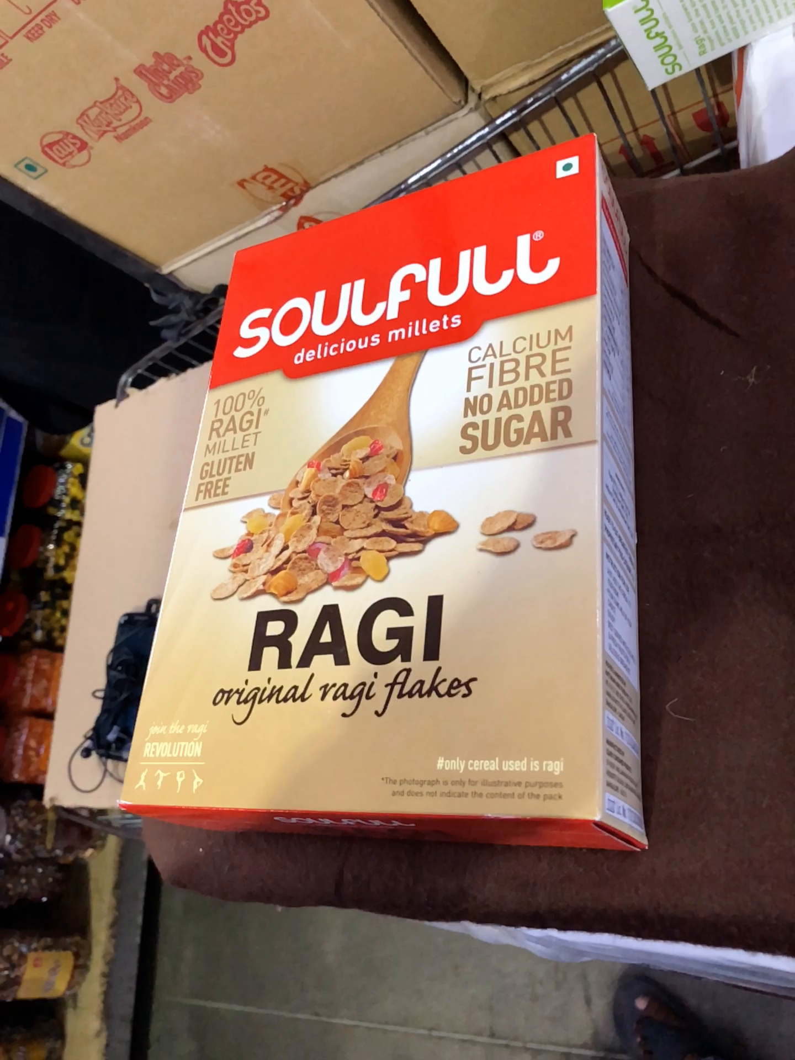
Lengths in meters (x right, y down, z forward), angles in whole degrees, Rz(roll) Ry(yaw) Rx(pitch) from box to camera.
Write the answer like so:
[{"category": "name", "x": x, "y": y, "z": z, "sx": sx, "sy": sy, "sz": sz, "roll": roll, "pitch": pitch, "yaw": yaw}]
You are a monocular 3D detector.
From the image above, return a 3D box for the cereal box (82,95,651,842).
[{"category": "cereal box", "x": -0.007, "y": -0.021, "z": 0.315, "sx": 0.170, "sy": 0.050, "sz": 0.241, "roll": -8, "pitch": 64, "yaw": 26}]
